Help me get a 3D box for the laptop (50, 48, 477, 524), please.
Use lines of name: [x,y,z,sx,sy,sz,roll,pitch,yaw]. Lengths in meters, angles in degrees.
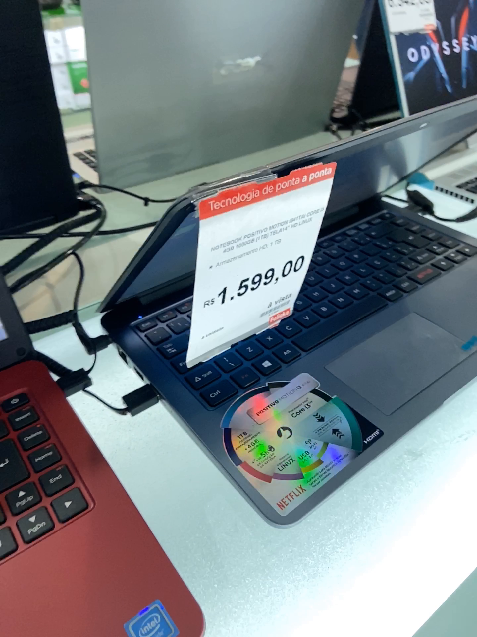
laptop: [0.082,-0.070,0.337,0.317,0.145,0.211,-26,43,-28]
